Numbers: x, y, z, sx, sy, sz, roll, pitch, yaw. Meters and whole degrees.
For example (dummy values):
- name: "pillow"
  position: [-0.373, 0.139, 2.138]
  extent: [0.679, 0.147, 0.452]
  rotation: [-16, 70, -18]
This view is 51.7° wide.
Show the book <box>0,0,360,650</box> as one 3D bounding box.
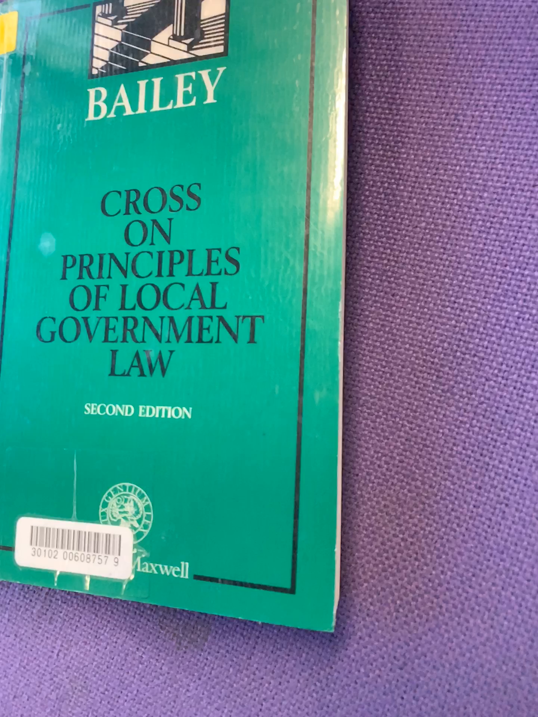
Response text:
- name: "book"
  position: [-0.049, -0.030, 0.216]
  extent: [0.160, 0.040, 0.236]
  rotation: [0, 83, 17]
